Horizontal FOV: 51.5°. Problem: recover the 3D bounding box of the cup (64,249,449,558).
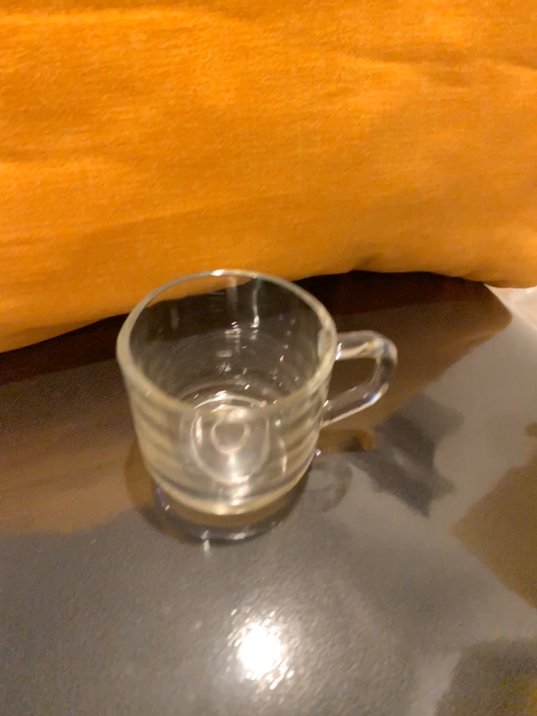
[{"bbox_3d":[-0.009,0.012,0.187,0.100,0.059,0.071,-6,47,-11],"label":"cup"}]
